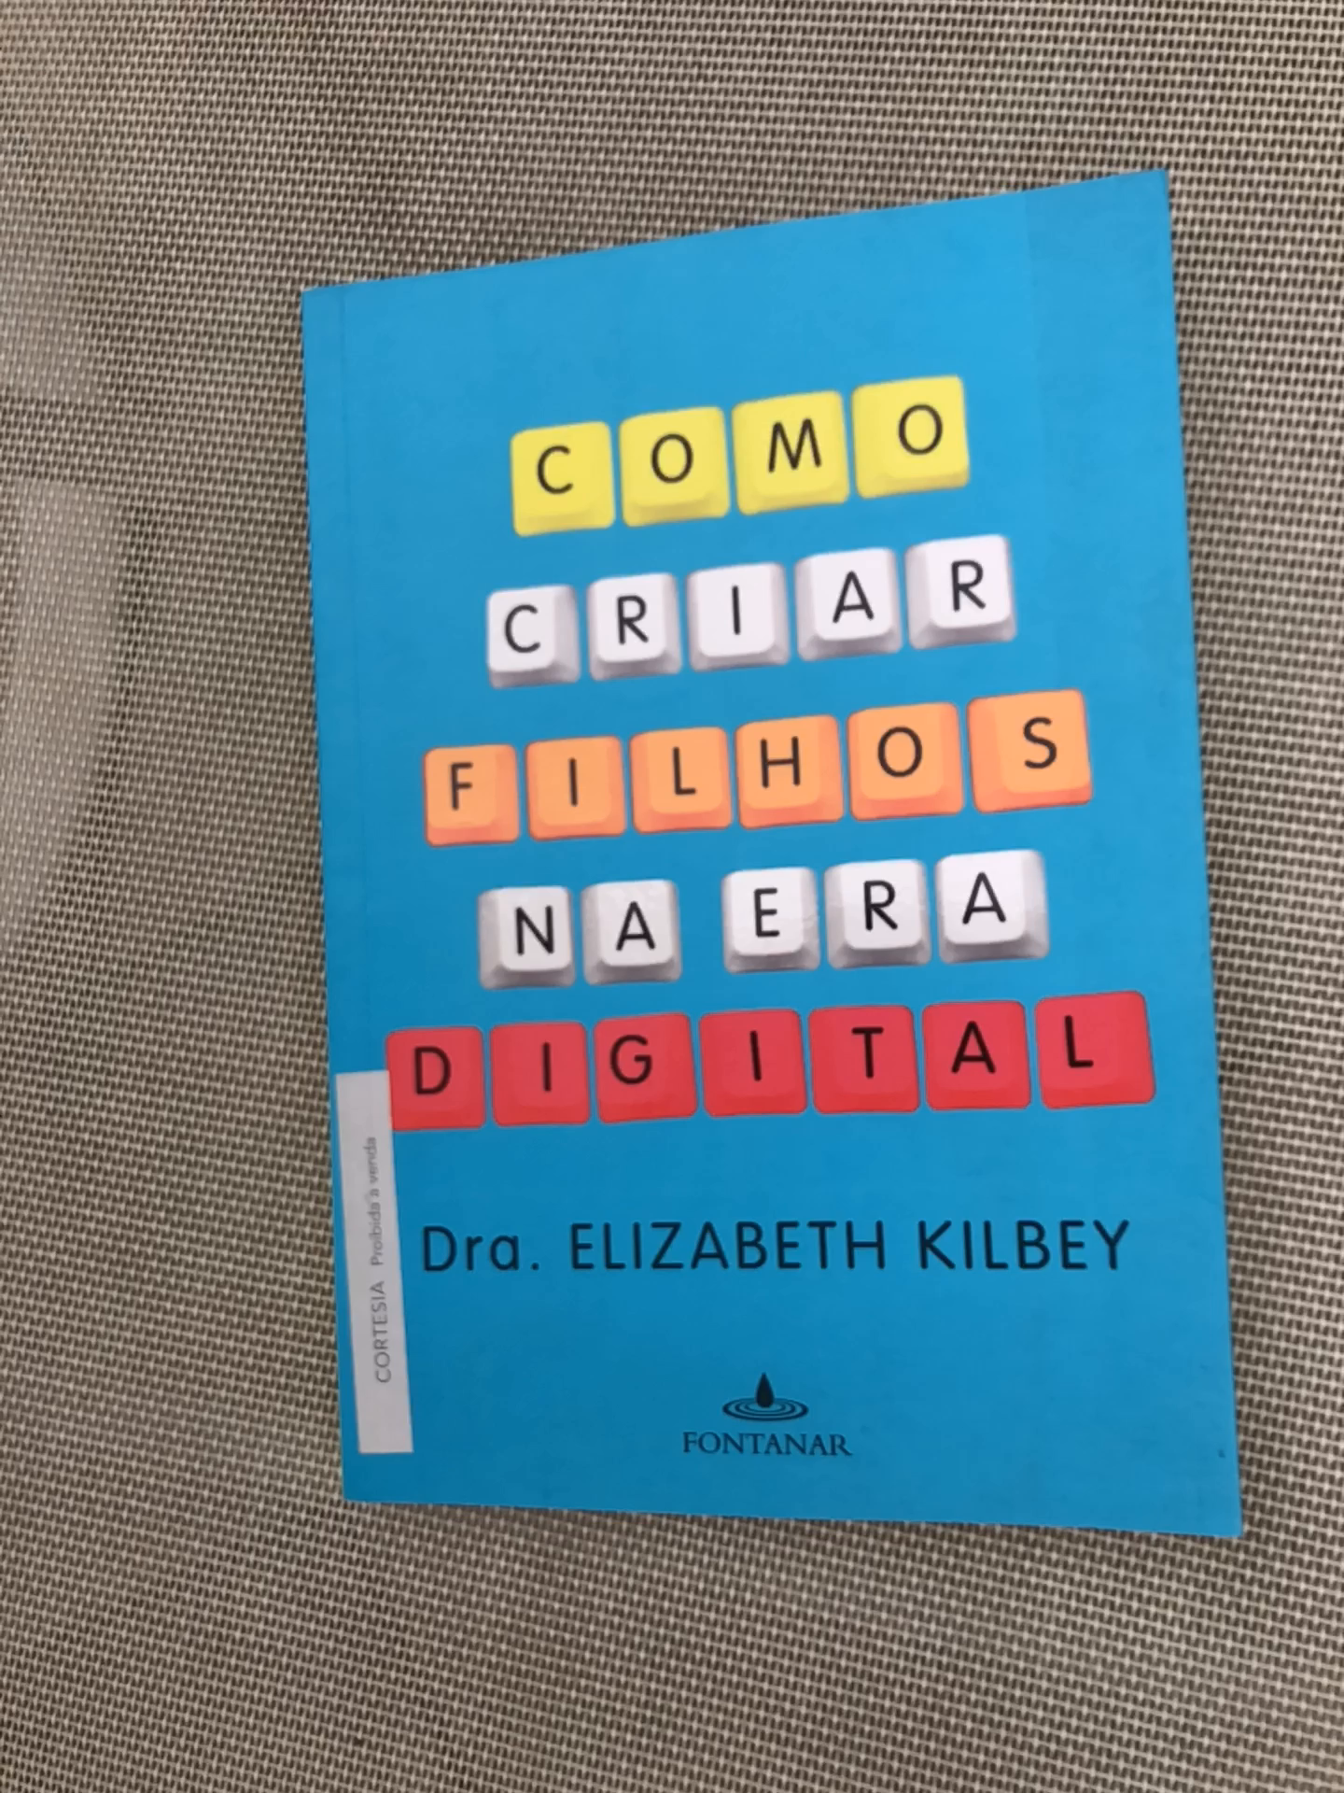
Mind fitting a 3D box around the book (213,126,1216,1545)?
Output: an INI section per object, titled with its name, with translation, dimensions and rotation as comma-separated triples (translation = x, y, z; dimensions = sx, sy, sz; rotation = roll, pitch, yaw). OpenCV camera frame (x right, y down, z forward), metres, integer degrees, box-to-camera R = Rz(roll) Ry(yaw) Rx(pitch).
[book]
translation = 0.002, -0.008, 0.267
dimensions = 0.163, 0.020, 0.228
rotation = -3, 87, 11
